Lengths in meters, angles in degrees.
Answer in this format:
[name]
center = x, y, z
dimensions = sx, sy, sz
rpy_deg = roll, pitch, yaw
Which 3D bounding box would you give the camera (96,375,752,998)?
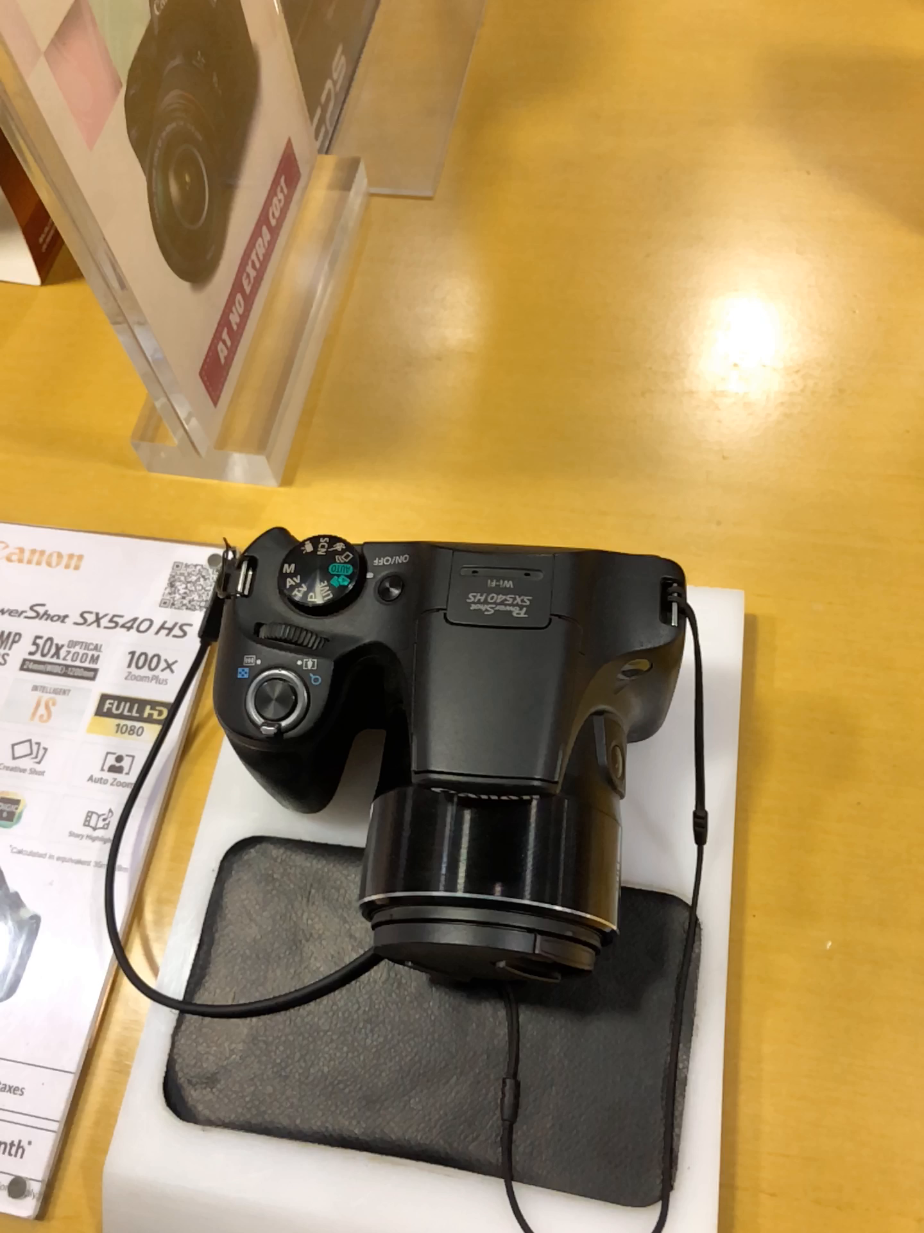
[camera]
center = 0.000, 0.020, 0.270
dimensions = 0.130, 0.090, 0.130
rpy_deg = 3, 64, 6
